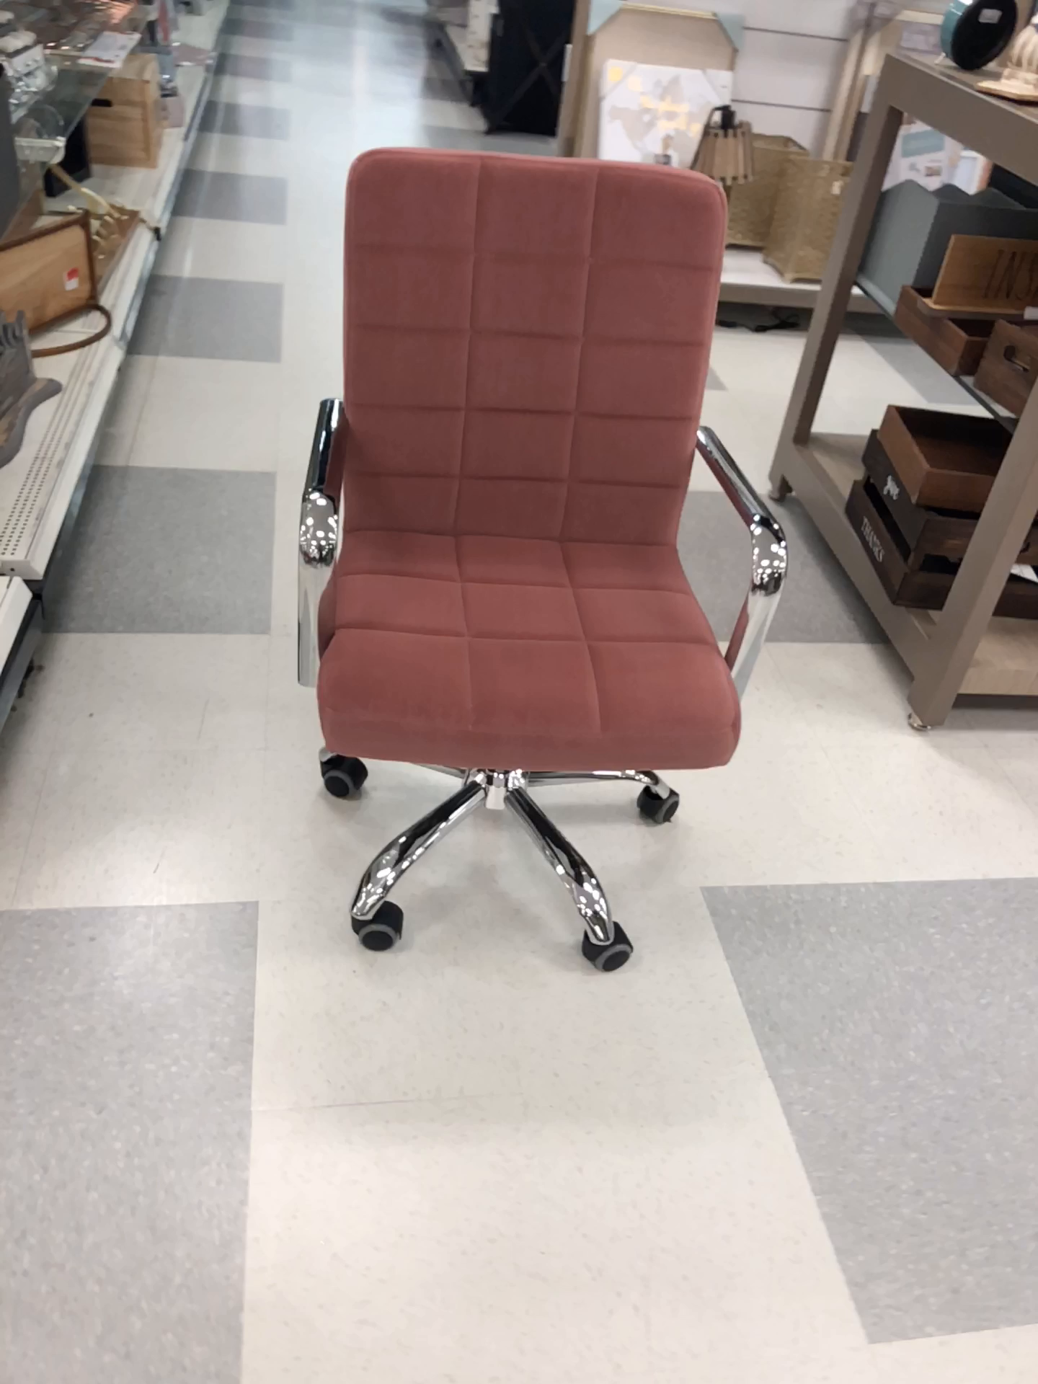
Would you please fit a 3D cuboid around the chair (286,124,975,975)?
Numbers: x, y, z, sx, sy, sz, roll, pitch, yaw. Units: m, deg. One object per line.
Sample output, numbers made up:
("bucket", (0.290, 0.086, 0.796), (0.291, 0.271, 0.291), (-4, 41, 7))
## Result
("chair", (0.025, -0.153, 1.387), (0.574, 0.819, 0.565), (2, 37, -9))
